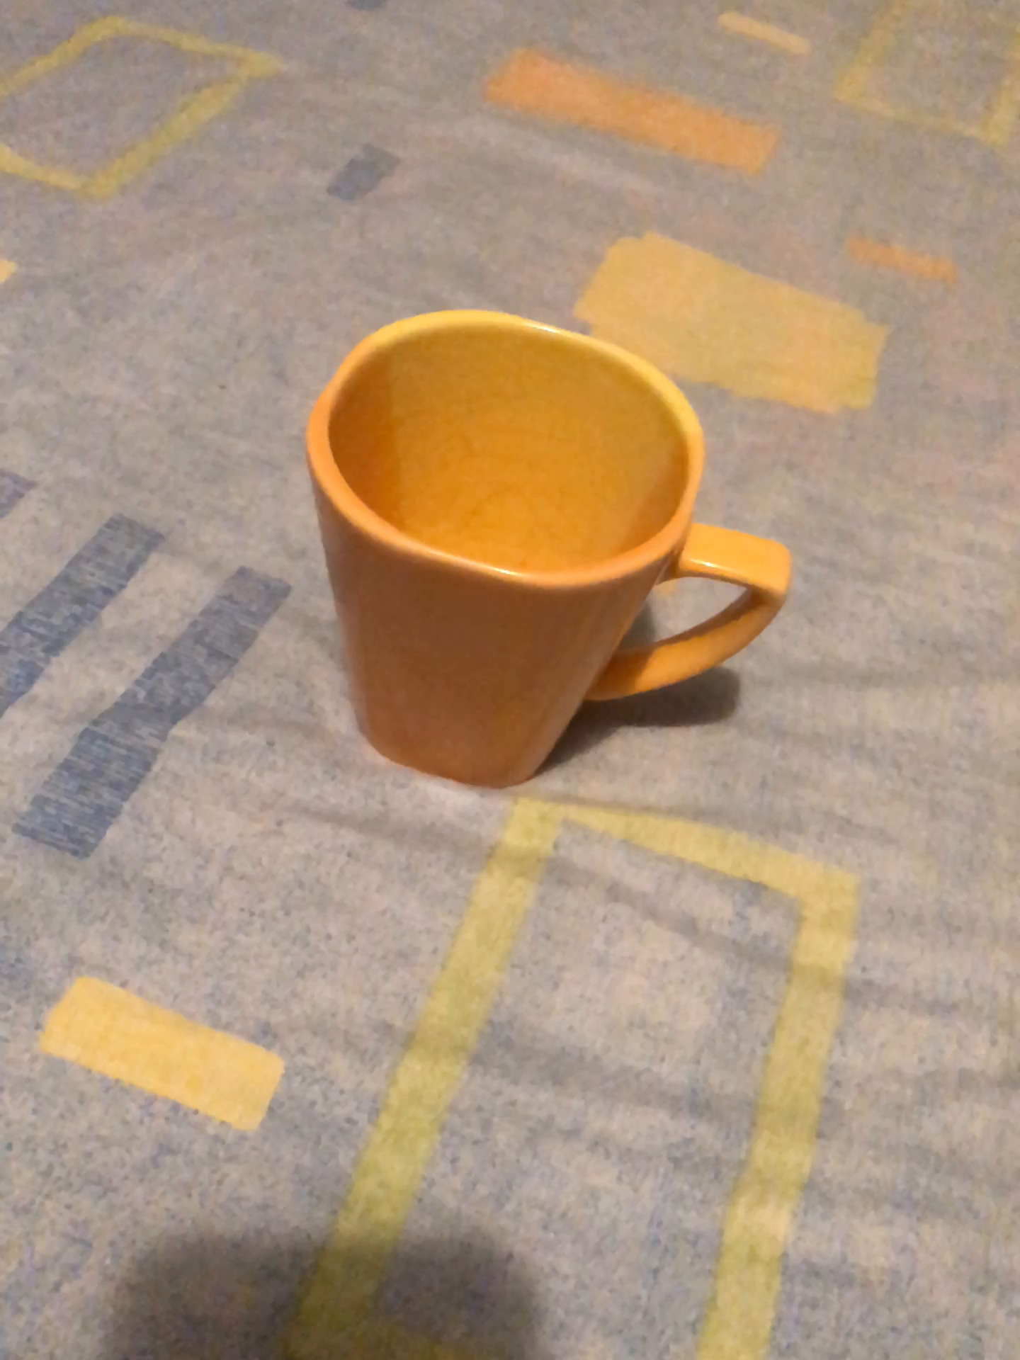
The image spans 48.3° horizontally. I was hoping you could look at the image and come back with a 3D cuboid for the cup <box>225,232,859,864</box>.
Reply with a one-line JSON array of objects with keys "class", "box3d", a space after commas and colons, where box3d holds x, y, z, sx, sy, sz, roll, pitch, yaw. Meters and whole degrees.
[{"class": "cup", "box3d": [0.007, -0.029, 0.262, 0.111, 0.082, 0.084, 18, 53, 4]}]
